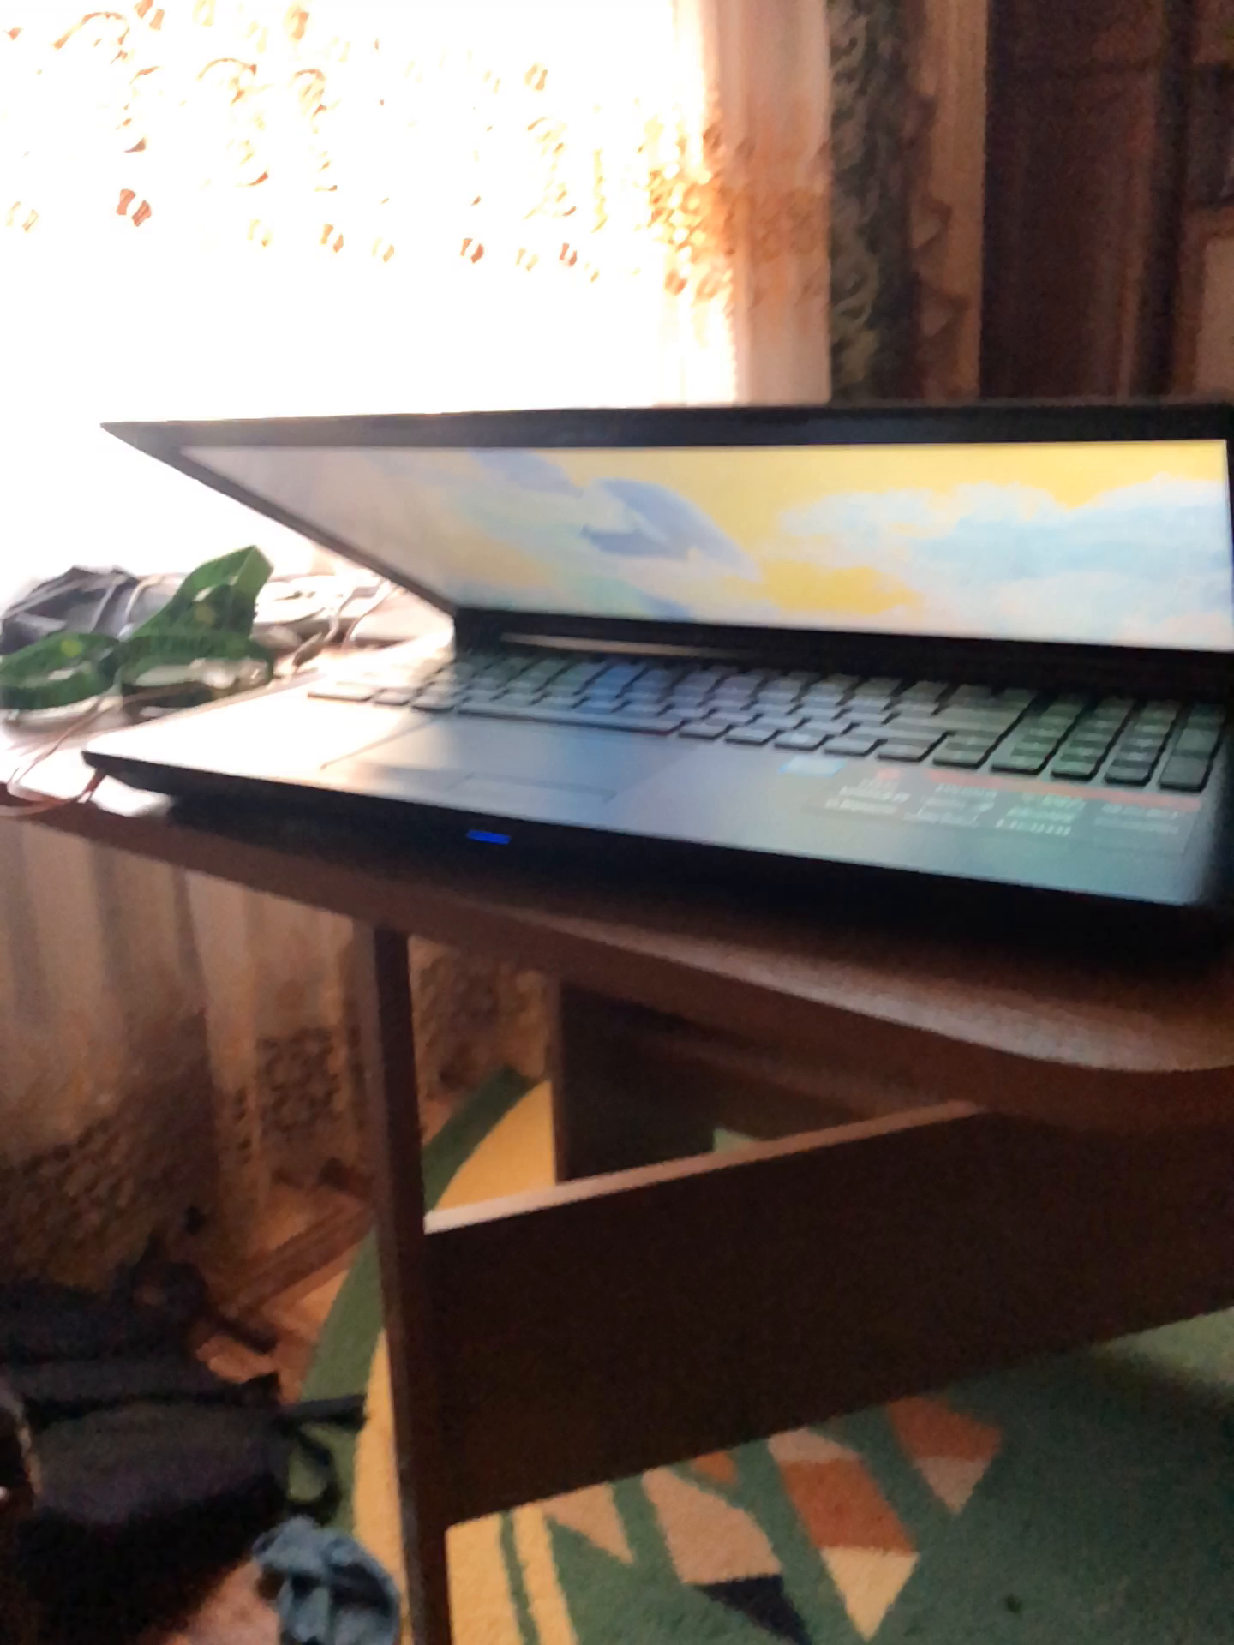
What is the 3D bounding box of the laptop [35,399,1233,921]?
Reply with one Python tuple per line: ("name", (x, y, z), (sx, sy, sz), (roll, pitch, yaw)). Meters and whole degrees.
("laptop", (0.025, -0.083, 0.466), (0.372, 0.095, 0.239), (7, 20, 28))
